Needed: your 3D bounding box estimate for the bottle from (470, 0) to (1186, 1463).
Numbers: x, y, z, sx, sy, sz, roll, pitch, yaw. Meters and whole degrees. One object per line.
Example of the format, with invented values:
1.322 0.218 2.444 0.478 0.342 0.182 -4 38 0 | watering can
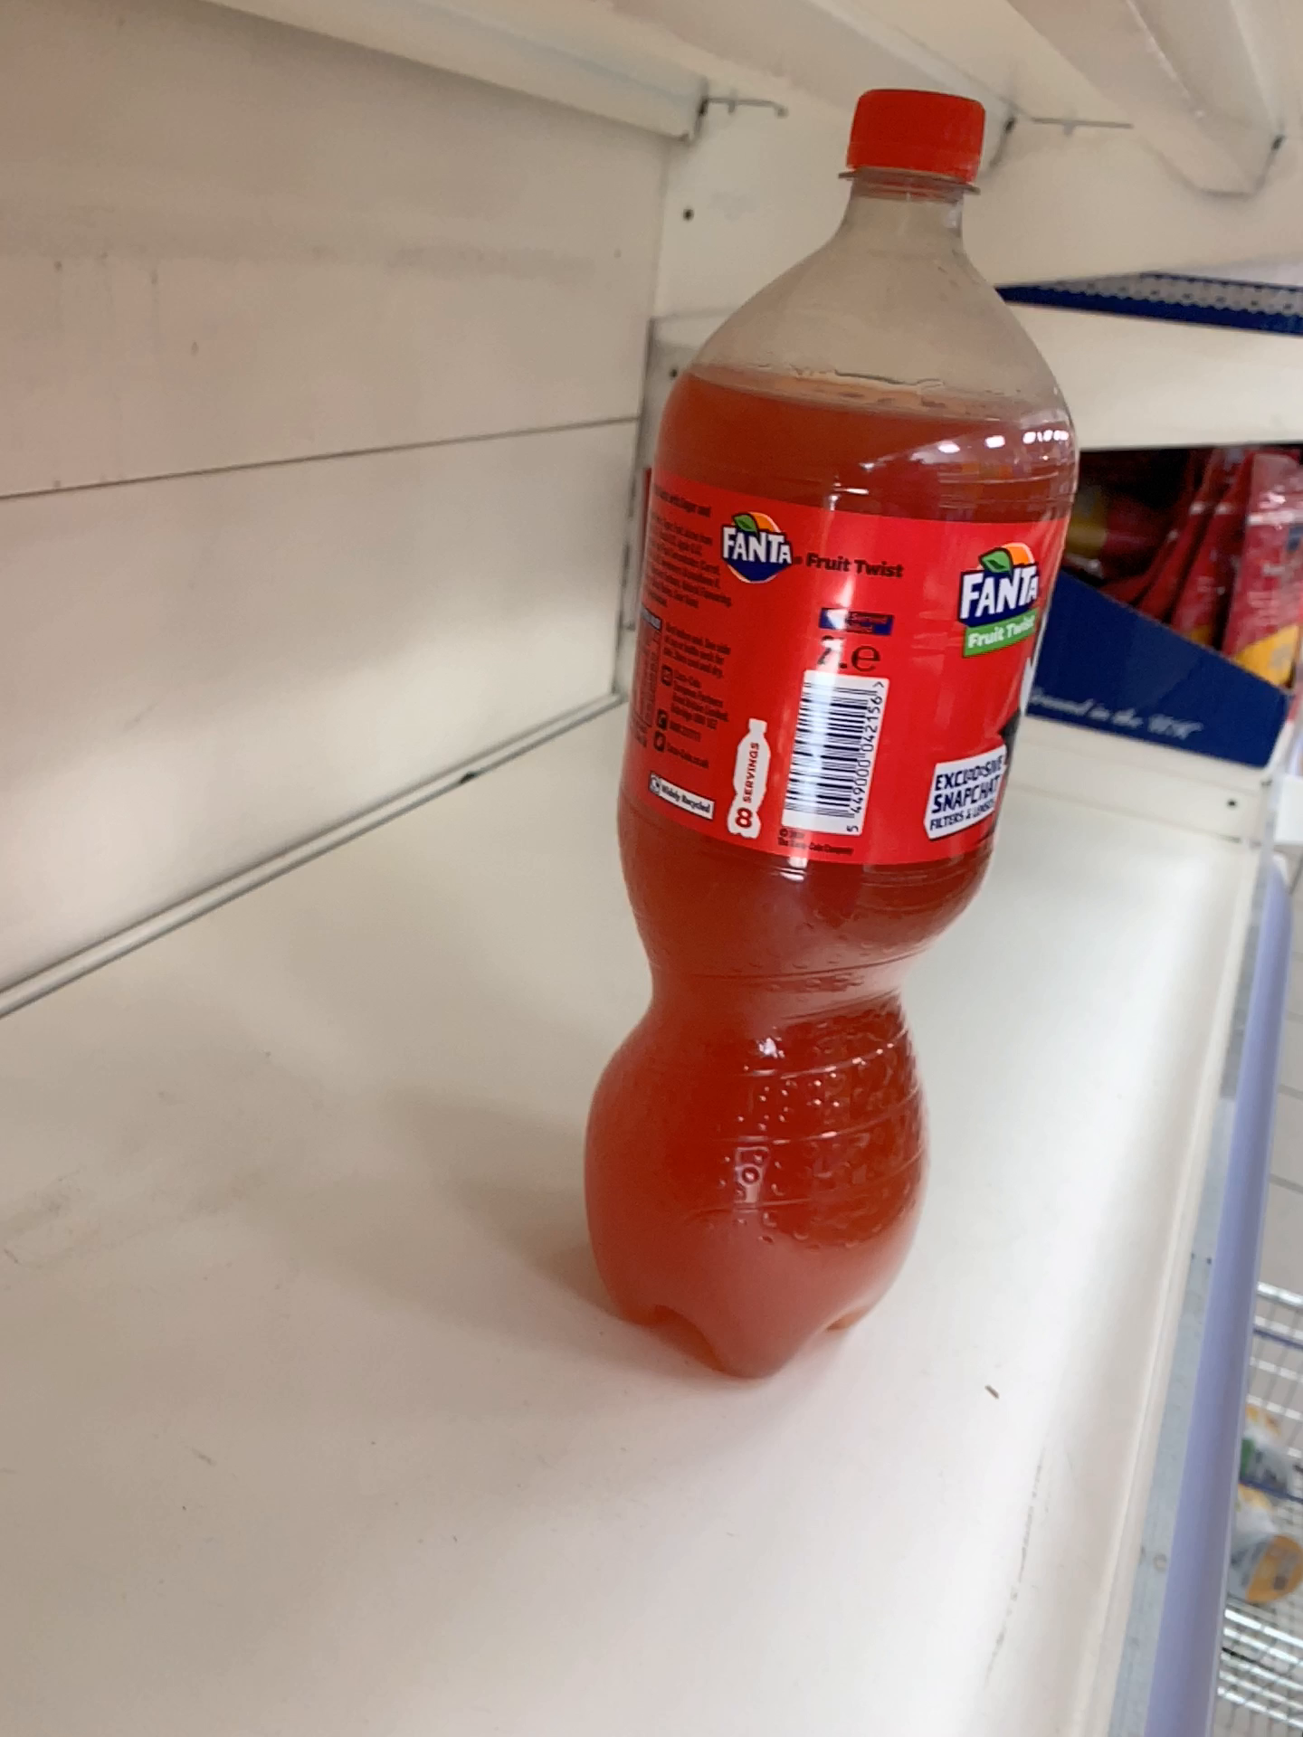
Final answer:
0.037 -0.025 0.360 0.110 0.327 0.121 6 24 -3 | bottle
